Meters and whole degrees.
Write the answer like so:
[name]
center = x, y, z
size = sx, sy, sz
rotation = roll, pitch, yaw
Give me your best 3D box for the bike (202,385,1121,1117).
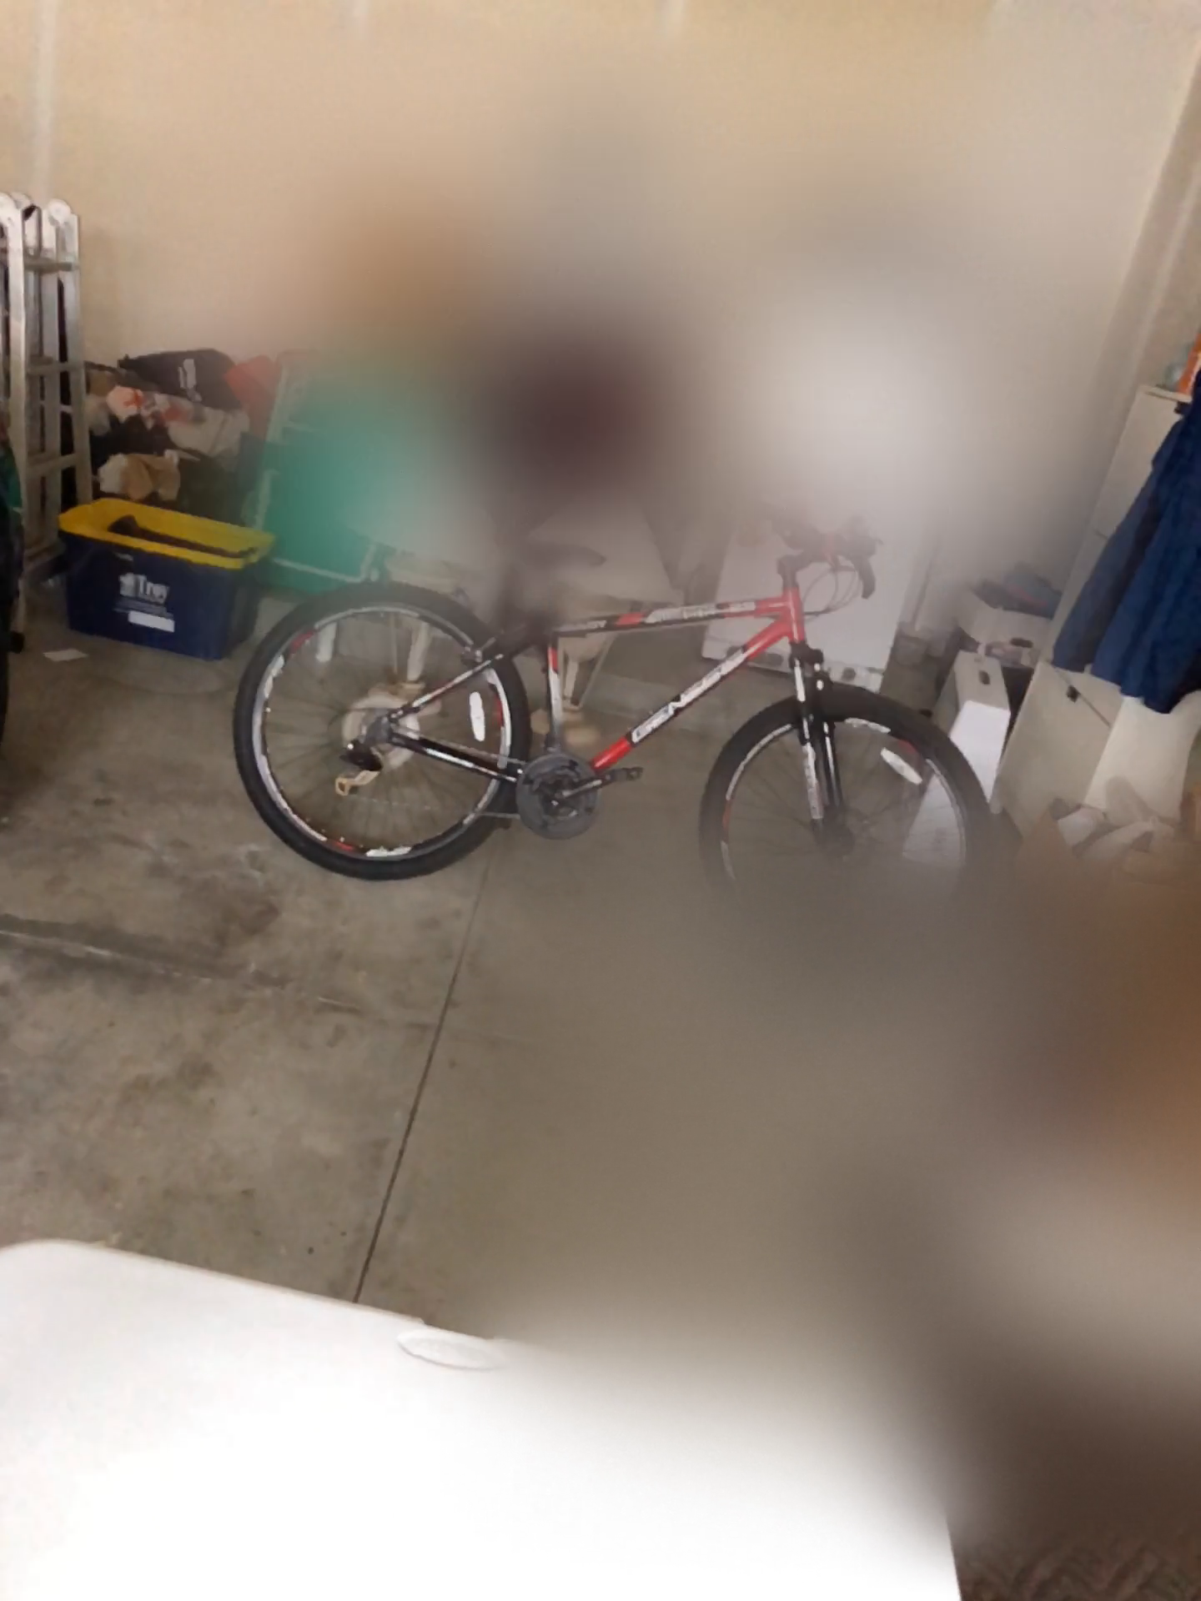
[bike]
center = 0.022, -0.168, 2.920
size = 1.668, 1.054, 0.591
rotation = 15, 21, 7
